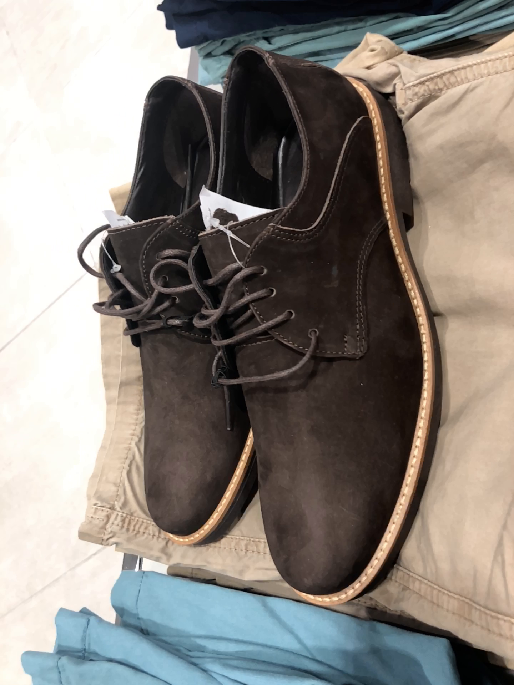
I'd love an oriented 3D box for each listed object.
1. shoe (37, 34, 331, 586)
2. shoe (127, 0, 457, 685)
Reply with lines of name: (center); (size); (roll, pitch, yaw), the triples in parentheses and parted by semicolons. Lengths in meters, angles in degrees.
shoe: (-0.042, -0.015, 0.345); (0.110, 0.110, 0.260); (3, 87, 41)
shoe: (0.020, 0.001, 0.276); (0.100, 0.110, 0.260); (-7, 78, 44)
